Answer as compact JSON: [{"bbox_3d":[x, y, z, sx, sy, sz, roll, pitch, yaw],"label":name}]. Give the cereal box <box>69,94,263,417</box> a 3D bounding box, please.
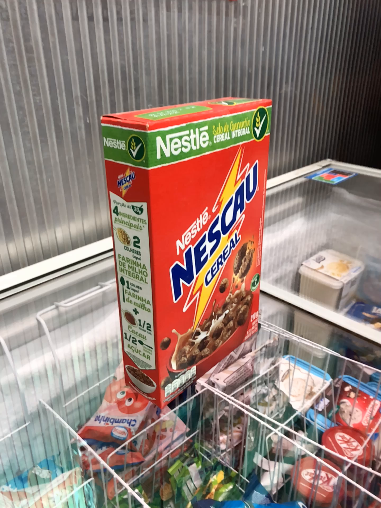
[{"bbox_3d":[-0.009,-0.005,0.397,0.050,0.258,0.171,21,33,37],"label":"cereal box"}]
